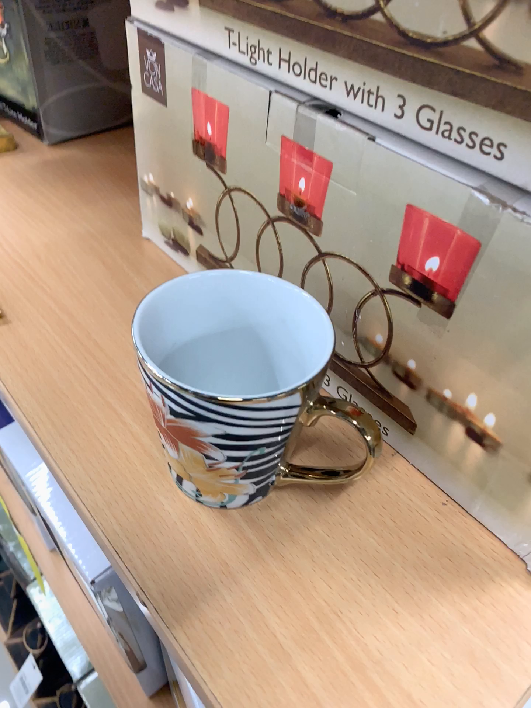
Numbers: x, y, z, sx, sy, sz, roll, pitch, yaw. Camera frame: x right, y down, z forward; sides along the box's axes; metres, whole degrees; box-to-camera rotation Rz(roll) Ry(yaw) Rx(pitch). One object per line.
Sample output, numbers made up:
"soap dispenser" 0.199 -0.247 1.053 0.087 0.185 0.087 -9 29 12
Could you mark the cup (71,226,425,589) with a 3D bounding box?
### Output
"cup" -0.009 0.016 0.216 0.100 0.080 0.070 29 47 22
